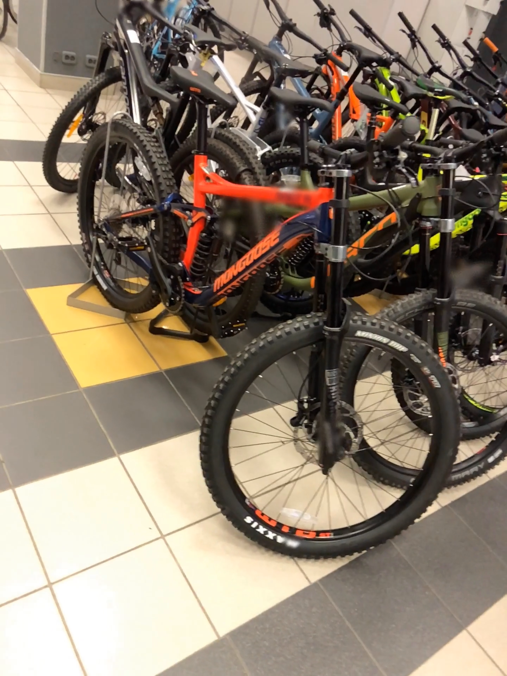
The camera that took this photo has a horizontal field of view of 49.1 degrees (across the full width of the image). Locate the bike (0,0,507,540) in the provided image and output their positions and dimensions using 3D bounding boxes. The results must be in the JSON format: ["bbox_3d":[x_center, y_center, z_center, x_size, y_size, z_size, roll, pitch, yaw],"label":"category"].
[{"bbox_3d":[0.029,-0.401,1.785,1.700,1.108,0.803,36,37,29],"label":"bike"}]
